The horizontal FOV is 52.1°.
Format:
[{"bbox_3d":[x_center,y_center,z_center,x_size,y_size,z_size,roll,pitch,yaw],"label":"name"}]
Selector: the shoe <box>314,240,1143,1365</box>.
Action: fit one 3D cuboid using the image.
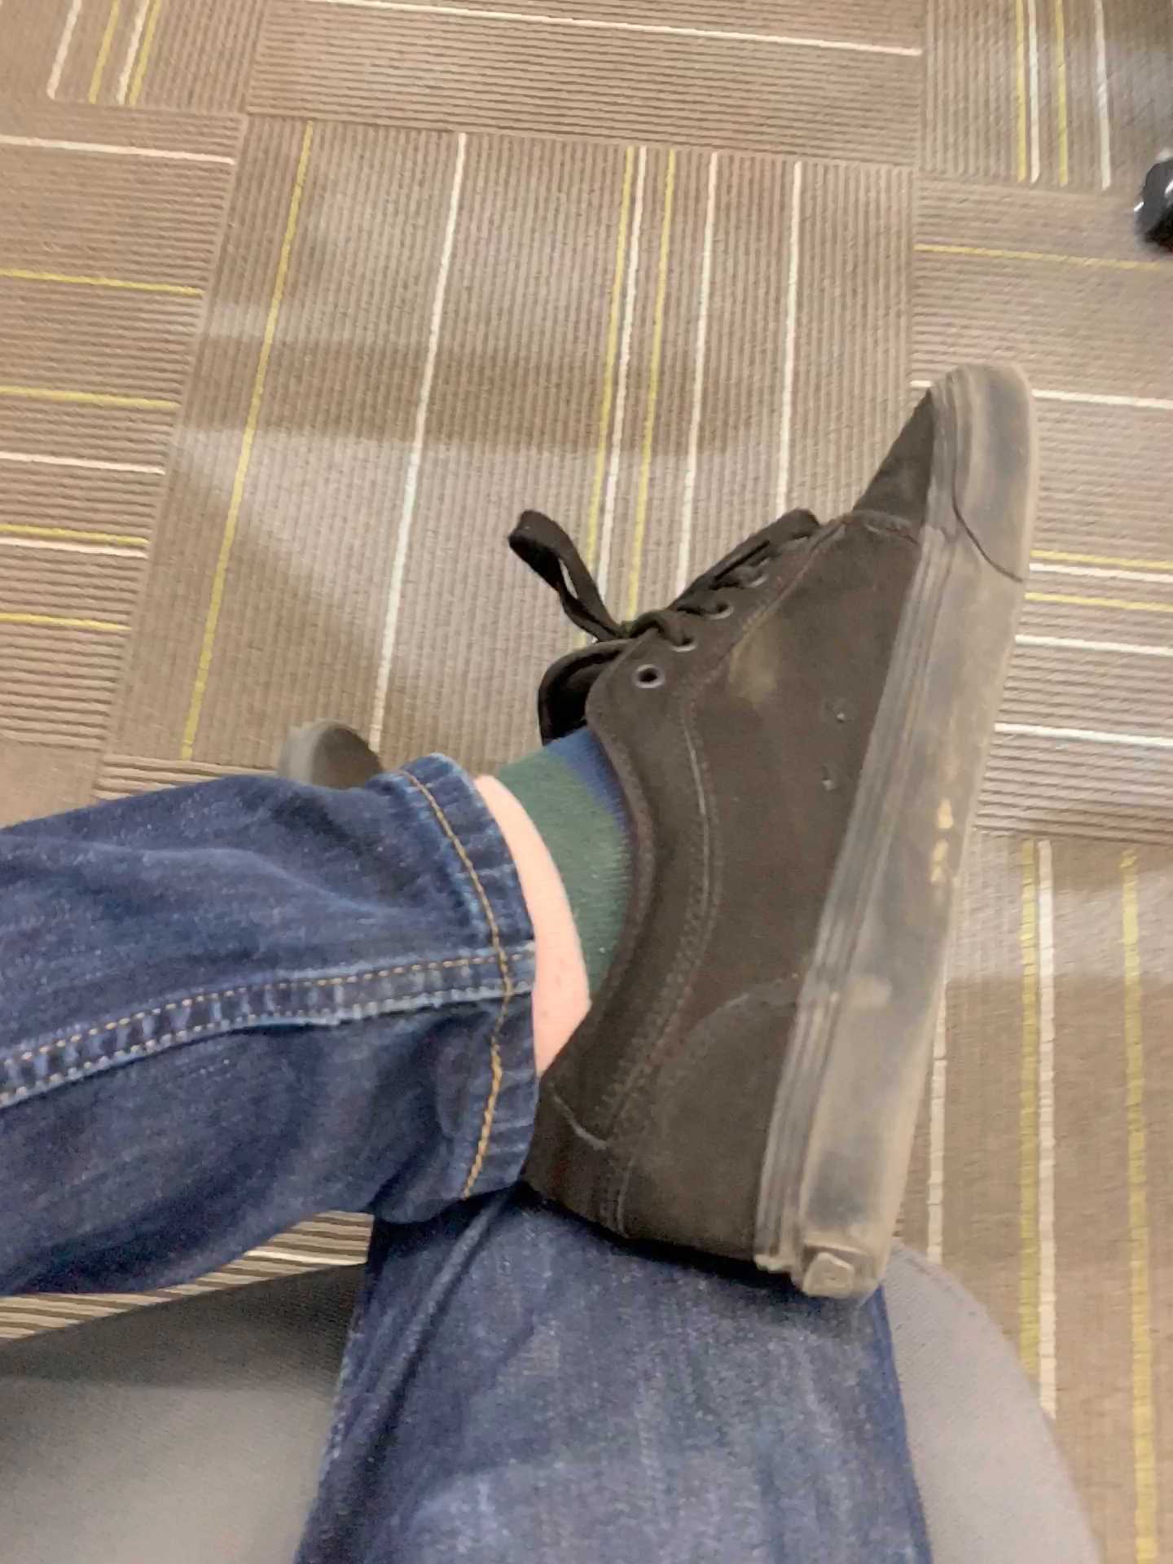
[{"bbox_3d":[0.050,0.001,0.345,0.134,0.120,0.260,14,73,13],"label":"shoe"}]
